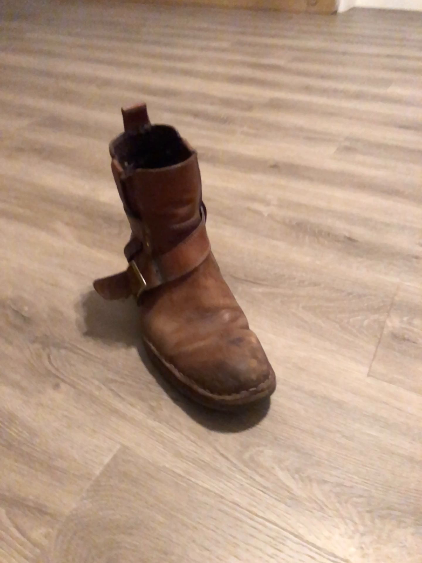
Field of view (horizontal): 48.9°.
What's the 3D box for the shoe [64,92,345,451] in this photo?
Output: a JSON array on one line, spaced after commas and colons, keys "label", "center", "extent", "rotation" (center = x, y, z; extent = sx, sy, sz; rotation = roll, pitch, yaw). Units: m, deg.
[{"label": "shoe", "center": [-0.030, -0.036, 0.459], "extent": [0.130, 0.209, 0.291], "rotation": [-16, 39, -20]}]
